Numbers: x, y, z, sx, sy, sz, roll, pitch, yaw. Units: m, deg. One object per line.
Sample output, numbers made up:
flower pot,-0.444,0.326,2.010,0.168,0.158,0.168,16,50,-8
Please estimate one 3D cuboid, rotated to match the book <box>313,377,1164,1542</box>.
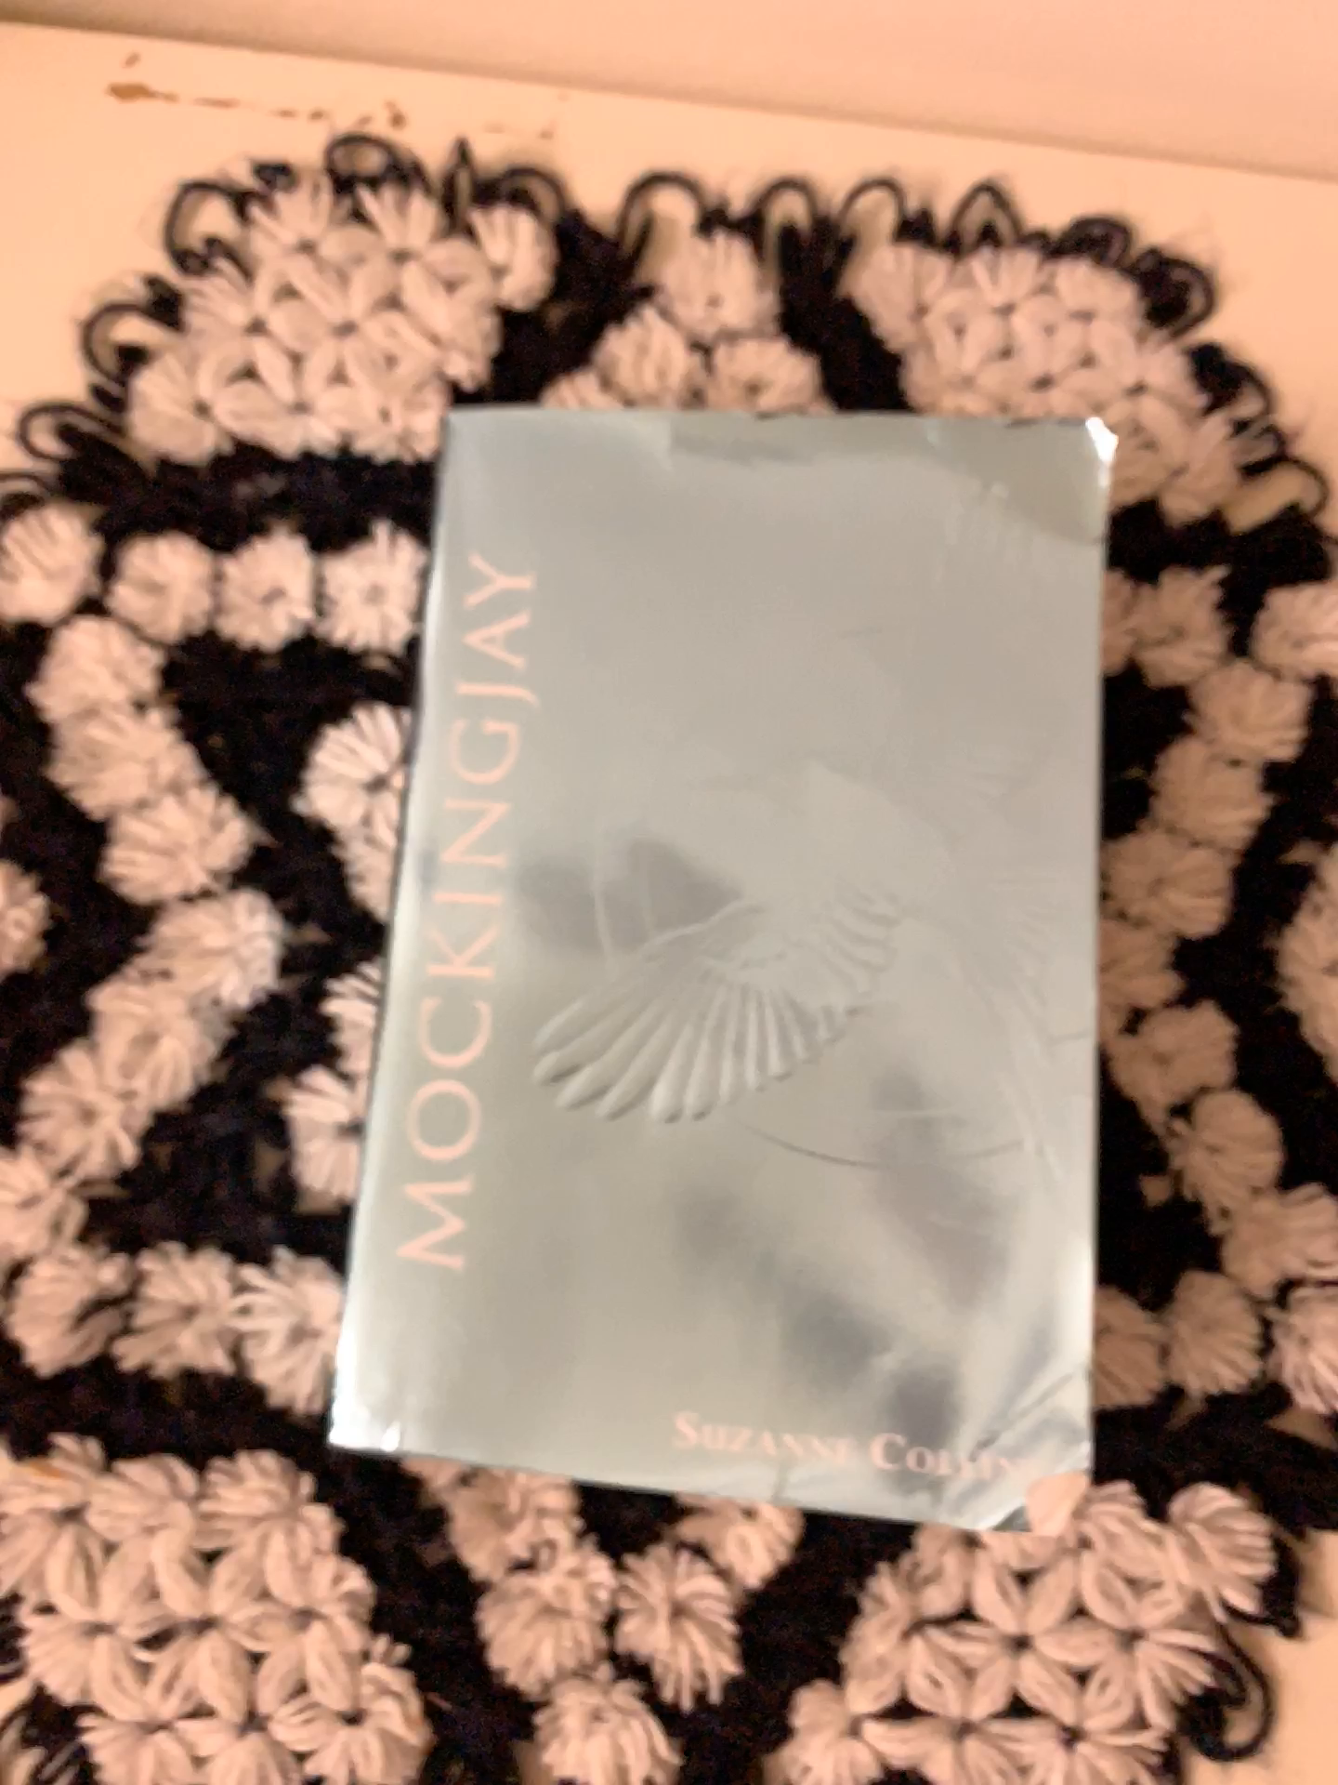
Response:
book,0.017,0.008,0.261,0.136,0.036,0.193,4,79,-2
